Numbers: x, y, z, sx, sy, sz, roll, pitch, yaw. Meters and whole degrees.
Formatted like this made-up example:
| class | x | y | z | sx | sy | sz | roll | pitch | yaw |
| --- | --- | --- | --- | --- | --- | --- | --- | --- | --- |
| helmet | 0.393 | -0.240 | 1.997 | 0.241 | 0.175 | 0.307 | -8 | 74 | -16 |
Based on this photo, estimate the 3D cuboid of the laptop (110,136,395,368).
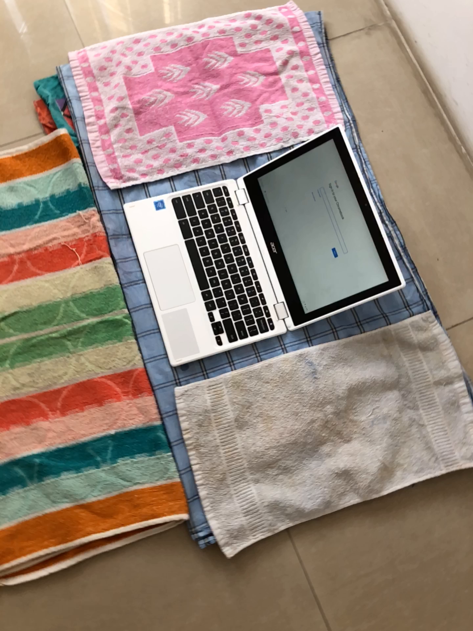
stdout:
| class | x | y | z | sx | sy | sz | roll | pitch | yaw |
| --- | --- | --- | --- | --- | --- | --- | --- | --- | --- |
| laptop | 0.024 | -0.107 | 0.847 | 0.367 | 0.101 | 0.285 | -15 | 79 | -11 |
